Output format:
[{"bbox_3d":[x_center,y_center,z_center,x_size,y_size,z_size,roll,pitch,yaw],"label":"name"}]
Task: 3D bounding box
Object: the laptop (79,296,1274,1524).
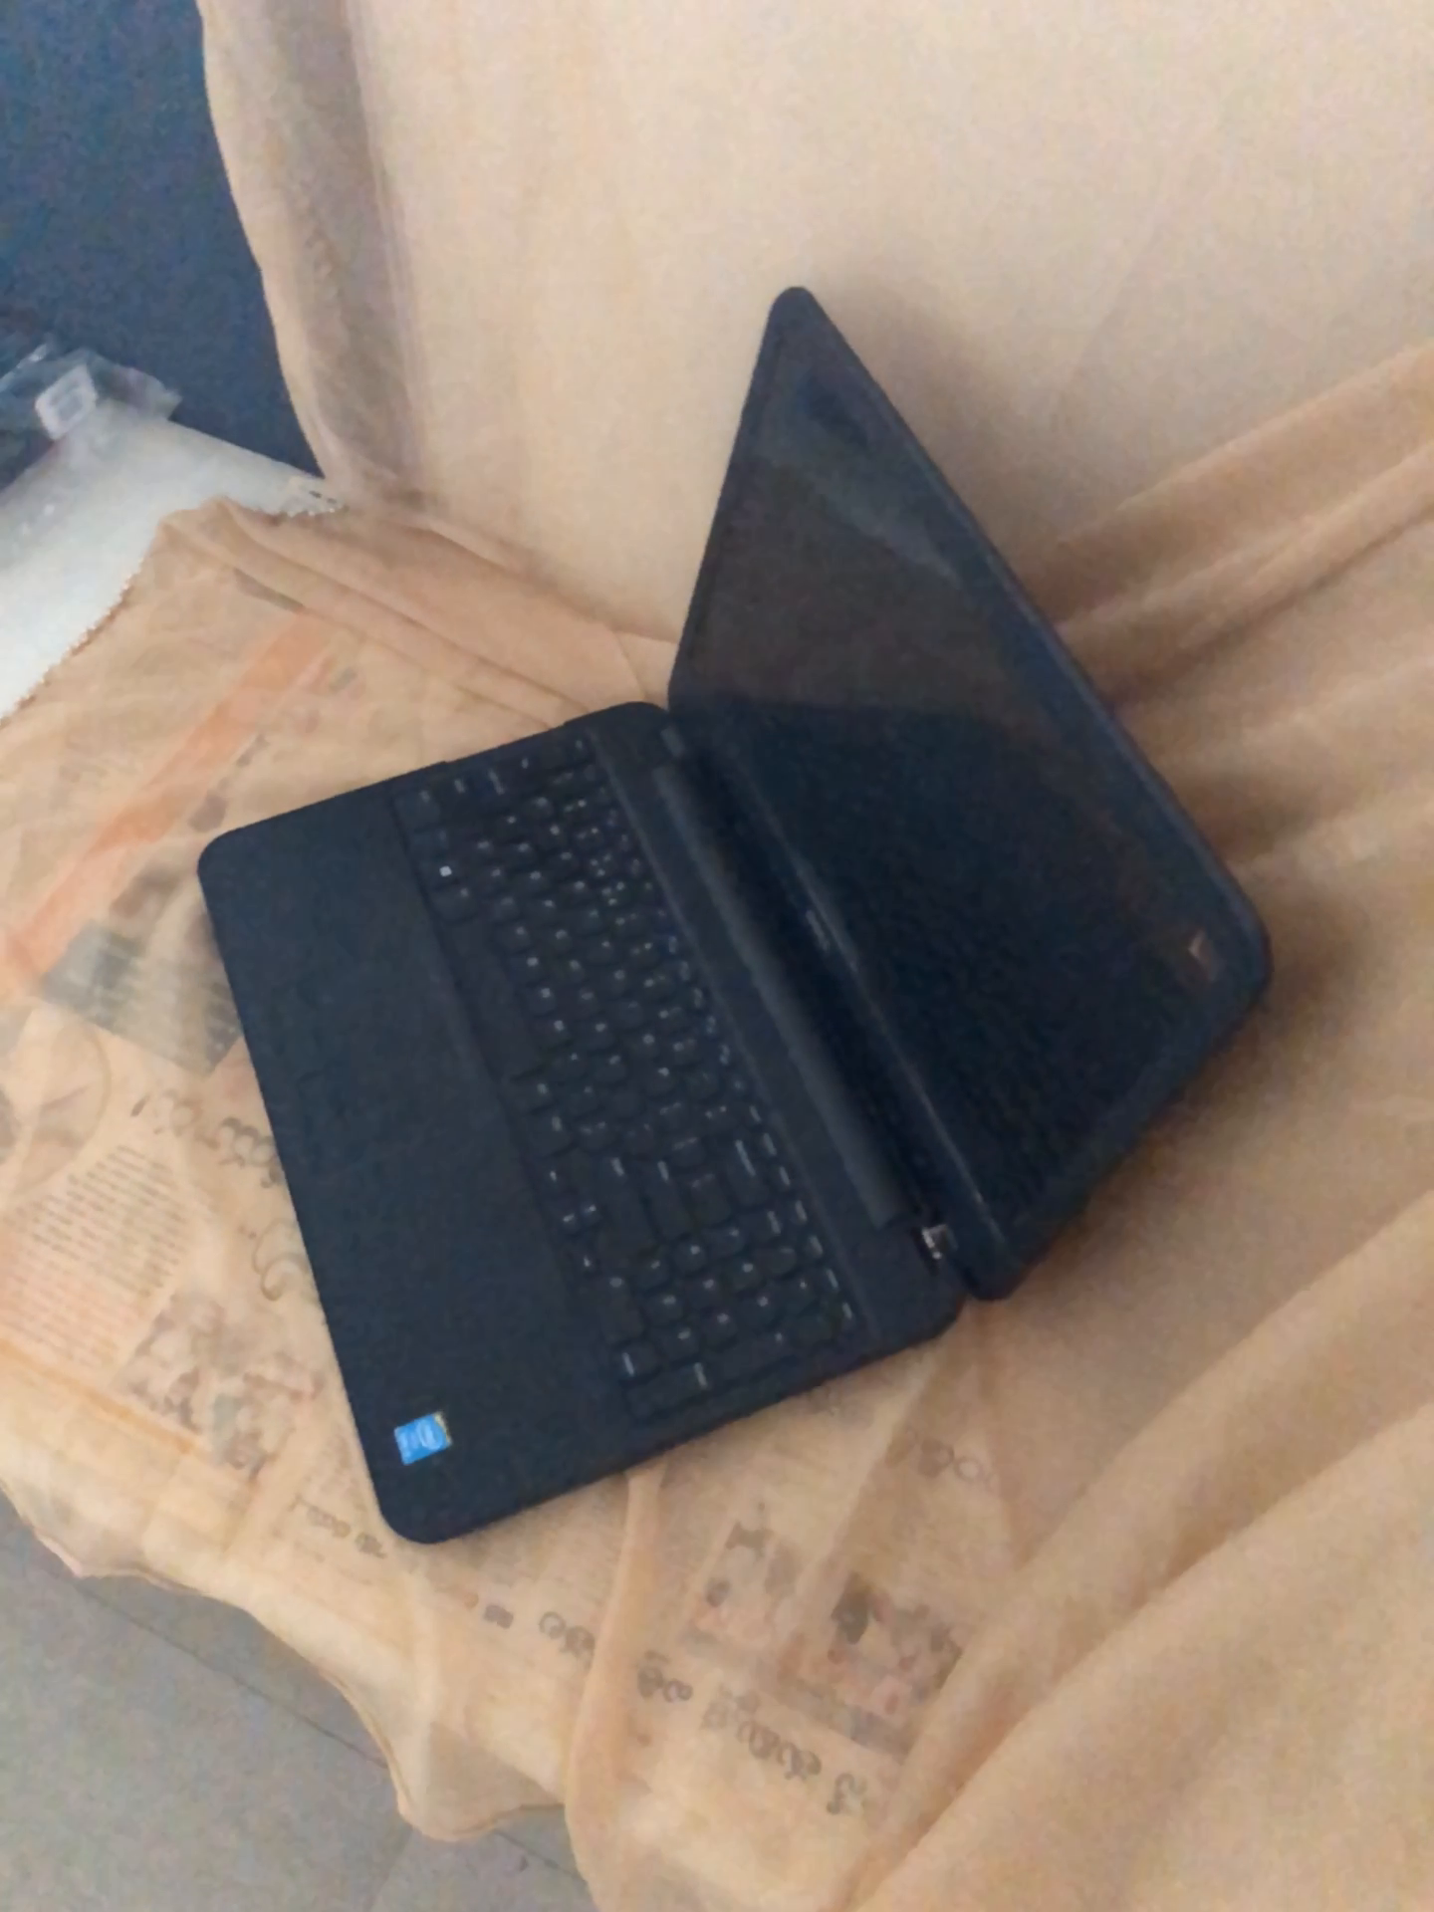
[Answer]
[{"bbox_3d":[-0.039,-0.026,0.635,0.305,0.226,0.349,-19,60,-12],"label":"laptop"}]
